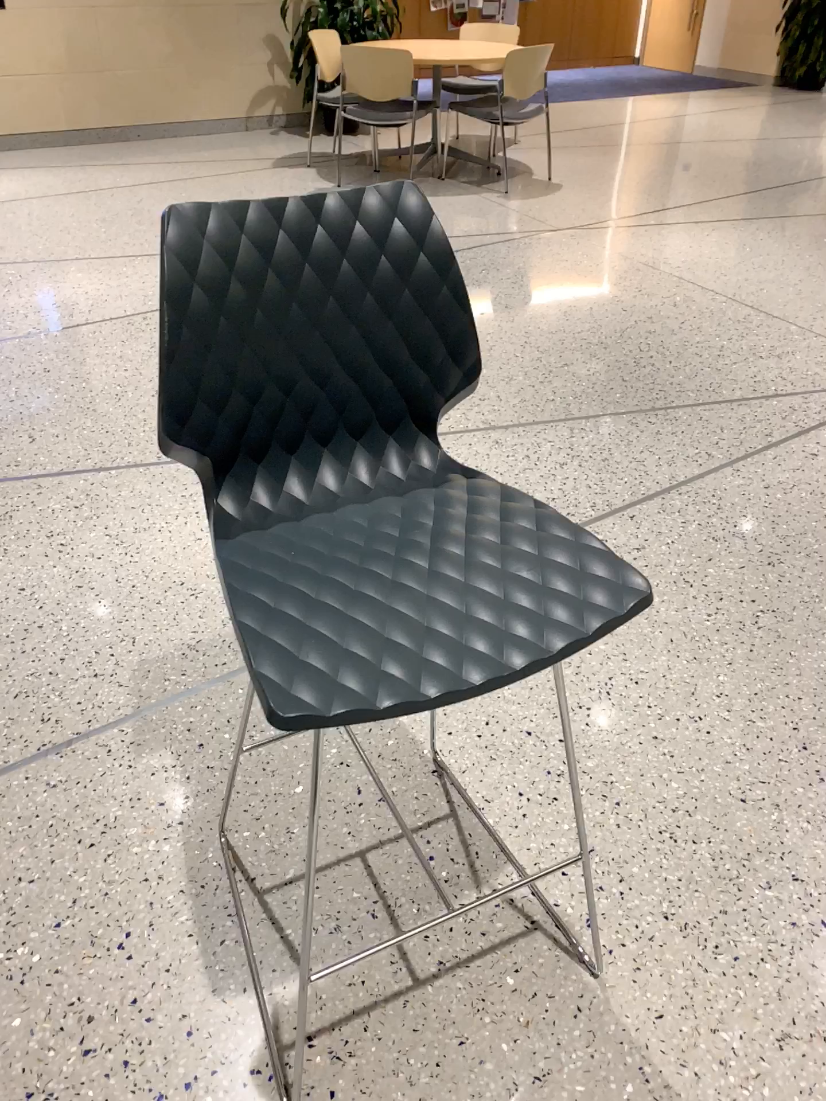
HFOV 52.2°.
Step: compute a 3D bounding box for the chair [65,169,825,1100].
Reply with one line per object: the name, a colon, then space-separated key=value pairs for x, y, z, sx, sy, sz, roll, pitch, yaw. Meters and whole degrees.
chair: x=-0.015 y=0.136 z=1.047 sx=0.535 sy=0.995 sz=0.535 roll=-14 pitch=38 yaw=-20
